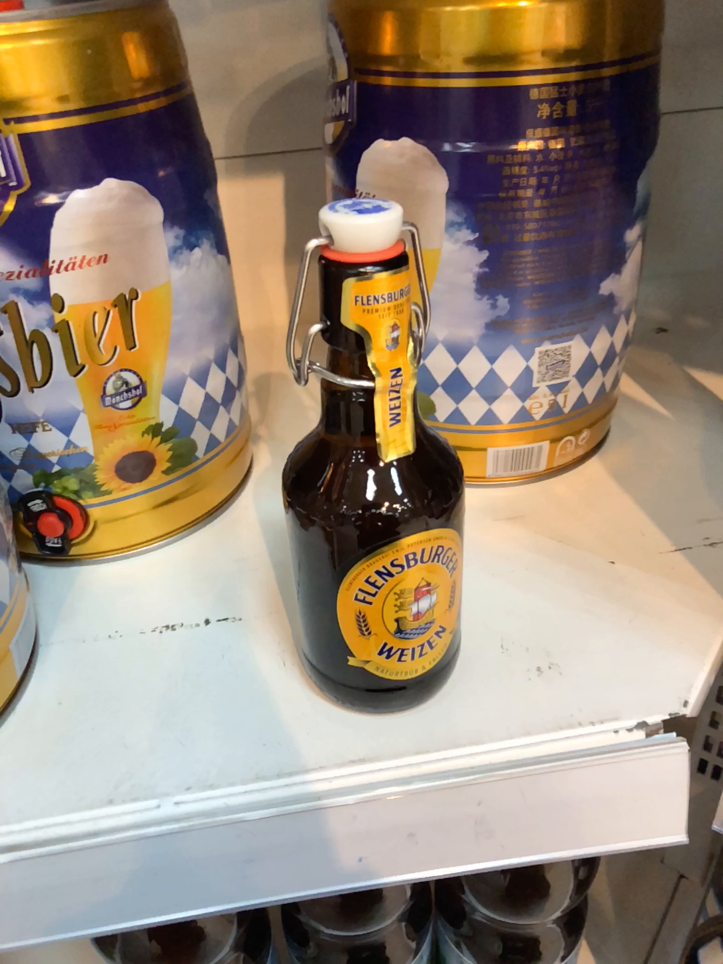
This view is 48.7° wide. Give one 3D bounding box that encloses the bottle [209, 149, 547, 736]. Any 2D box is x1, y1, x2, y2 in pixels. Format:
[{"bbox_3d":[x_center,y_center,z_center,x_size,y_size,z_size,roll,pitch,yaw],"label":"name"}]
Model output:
[{"bbox_3d":[0.006,-0.010,0.296,0.080,0.189,0.080,-3,35,2],"label":"bottle"}]
